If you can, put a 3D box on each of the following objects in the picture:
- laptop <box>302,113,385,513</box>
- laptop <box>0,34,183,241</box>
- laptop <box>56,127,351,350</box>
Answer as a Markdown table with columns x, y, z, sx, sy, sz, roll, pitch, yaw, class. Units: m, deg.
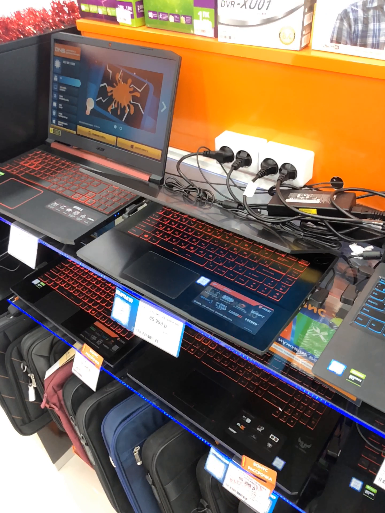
| x | y | z | sx | sy | sz | roll | pitch | yaw | class |
| --- | --- | --- | --- | --- | --- | --- | --- | --- | --- |
| 0.354 | 0.032 | 0.418 | 0.326 | 0.228 | 0.278 | 26 | 47 | 34 | laptop |
| -0.266 | -0.267 | 0.843 | 0.366 | 0.225 | 0.330 | 24 | 45 | 28 | laptop |
| 0.013 | -0.056 | 0.639 | 0.347 | 0.134 | 0.226 | 24 | 46 | 28 | laptop |
